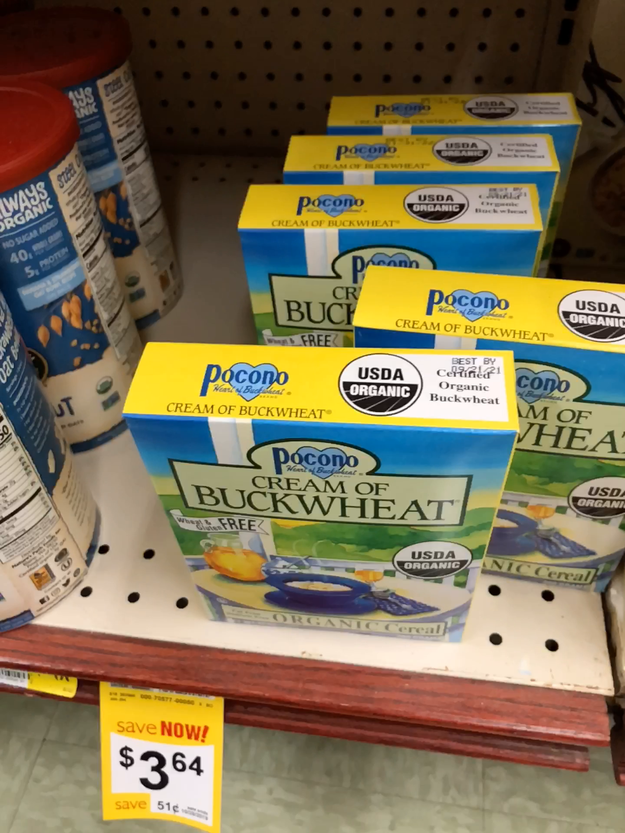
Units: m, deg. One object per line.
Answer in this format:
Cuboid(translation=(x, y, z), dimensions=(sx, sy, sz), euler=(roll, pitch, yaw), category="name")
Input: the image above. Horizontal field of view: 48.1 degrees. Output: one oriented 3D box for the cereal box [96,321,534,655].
Cuboid(translation=(0.004, 0.036, 0.275), dimensions=(0.130, 0.150, 0.040), euler=(3, 48, 7), category="cereal box")
